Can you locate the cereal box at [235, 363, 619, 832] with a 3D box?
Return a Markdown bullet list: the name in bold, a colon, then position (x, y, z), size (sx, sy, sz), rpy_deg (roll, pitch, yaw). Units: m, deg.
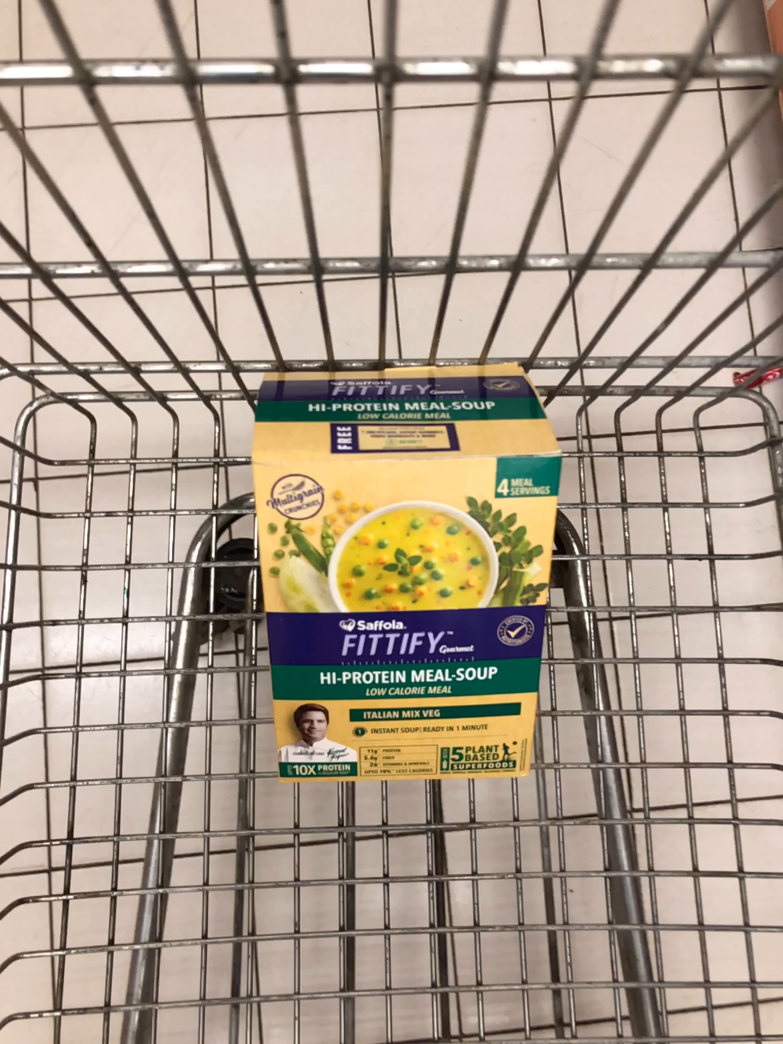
- **cereal box**: position (0.011, 0.033, 0.373), size (0.130, 0.090, 0.180), rpy_deg (-1, 118, -2)
